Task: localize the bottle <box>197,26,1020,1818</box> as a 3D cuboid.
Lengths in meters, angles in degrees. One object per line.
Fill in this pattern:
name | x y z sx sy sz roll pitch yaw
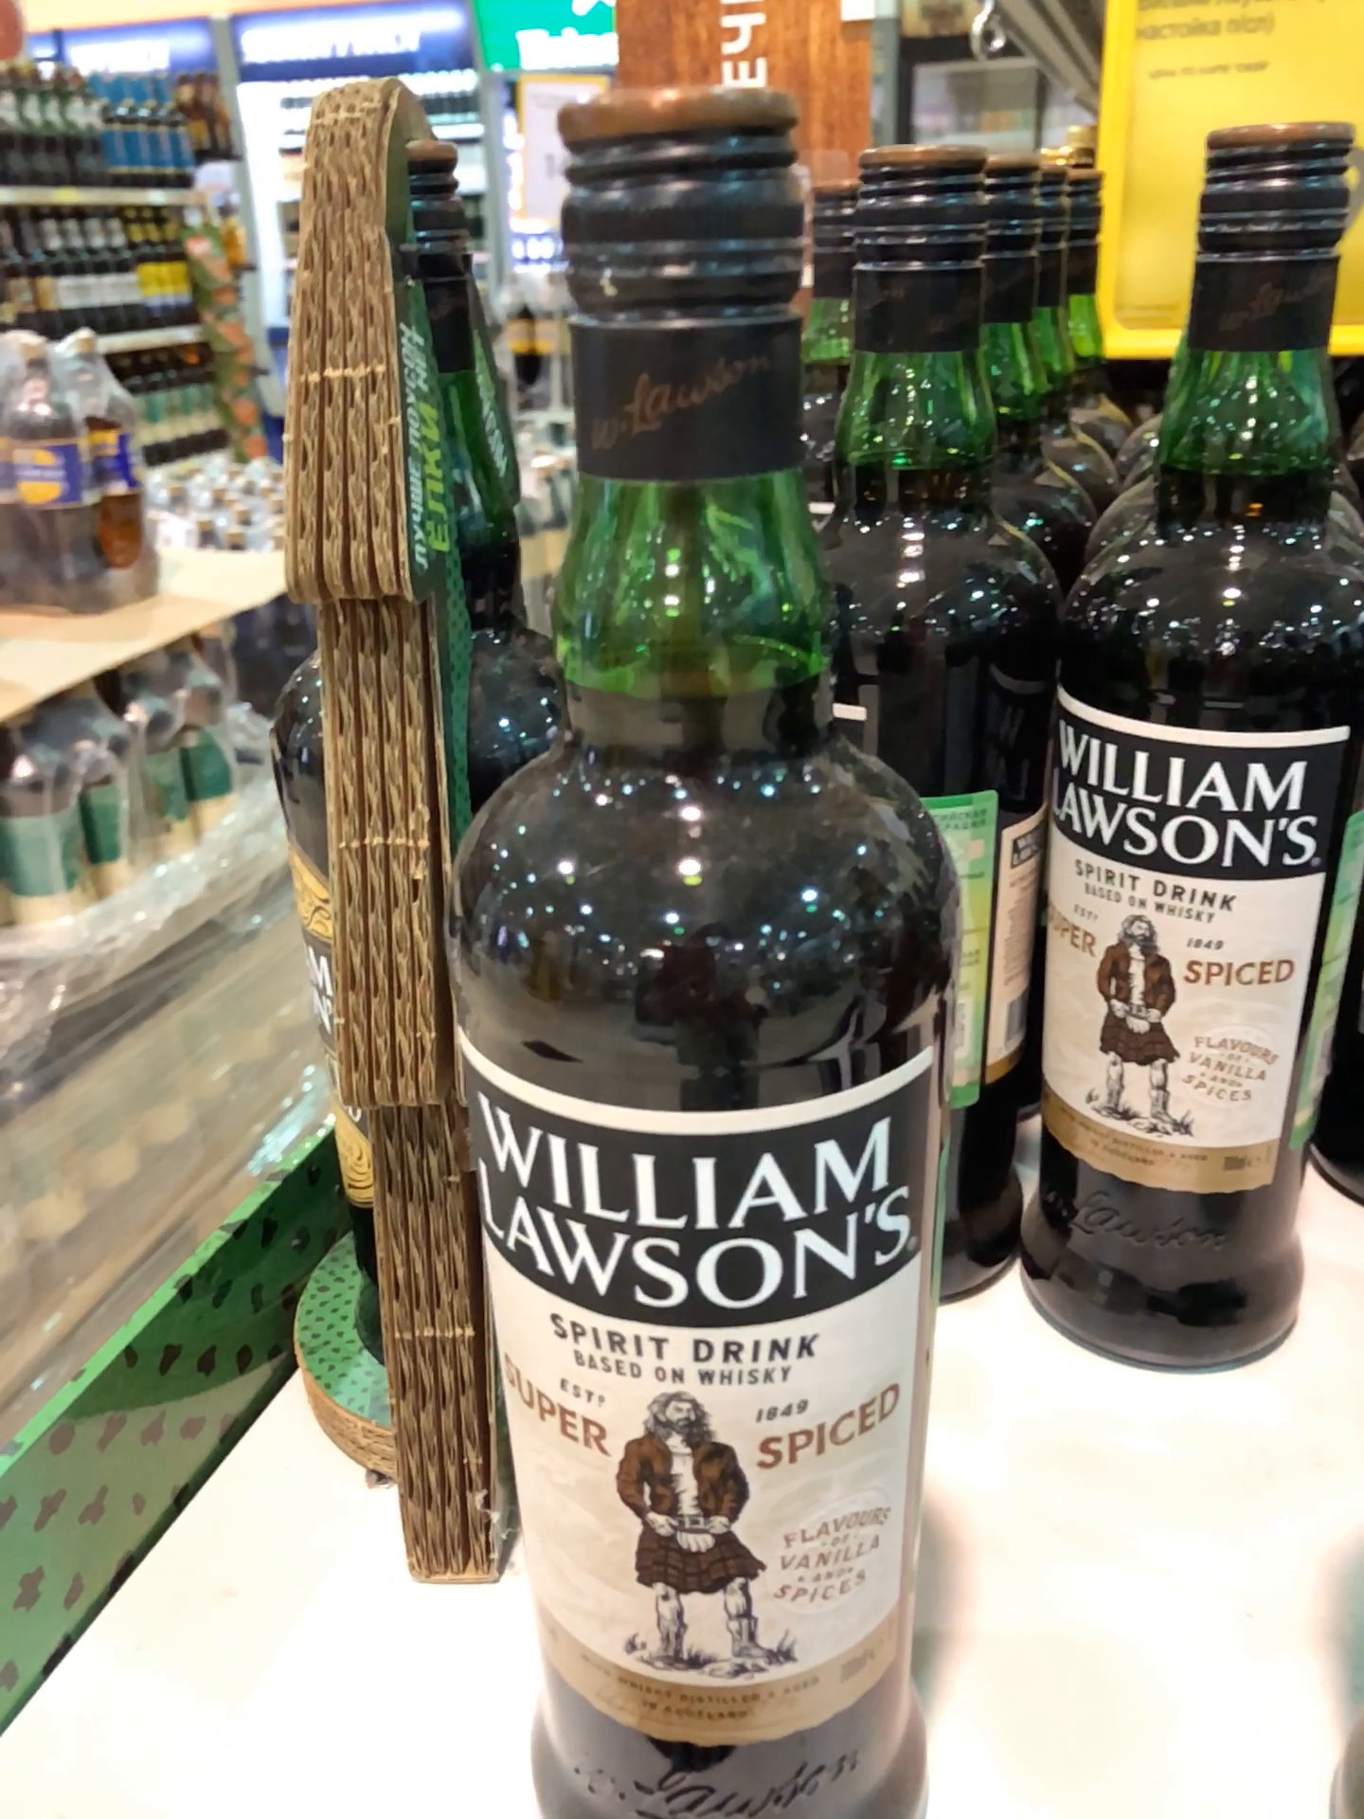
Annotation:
bottle | 0.004 0.037 0.243 0.080 0.298 0.091 2 24 10
